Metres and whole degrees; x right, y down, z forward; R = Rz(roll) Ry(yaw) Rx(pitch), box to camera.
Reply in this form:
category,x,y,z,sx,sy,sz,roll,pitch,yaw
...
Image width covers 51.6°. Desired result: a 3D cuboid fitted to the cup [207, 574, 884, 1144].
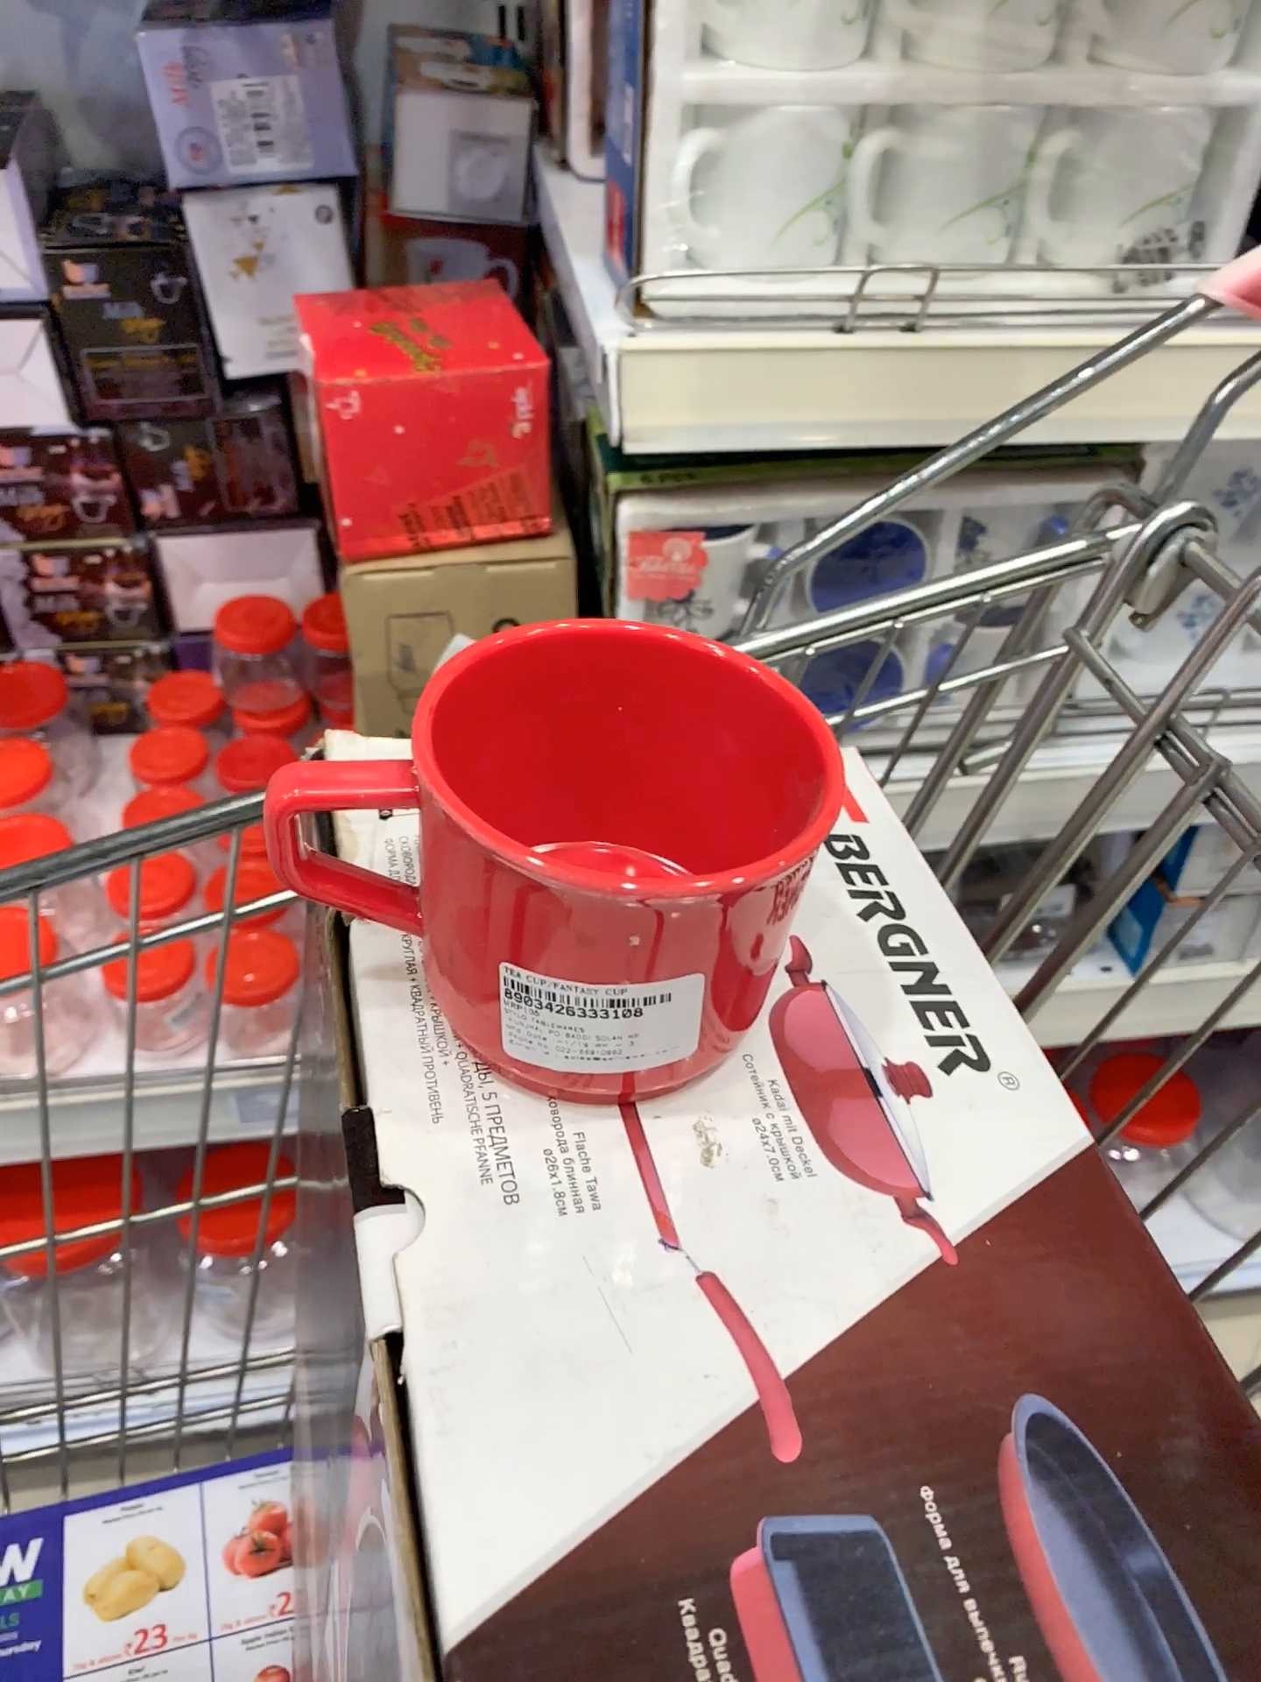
category,x,y,z,sx,sy,sz,roll,pitch,yaw
cup,-0.017,0.000,0.218,0.090,0.060,0.070,-2,43,-9
